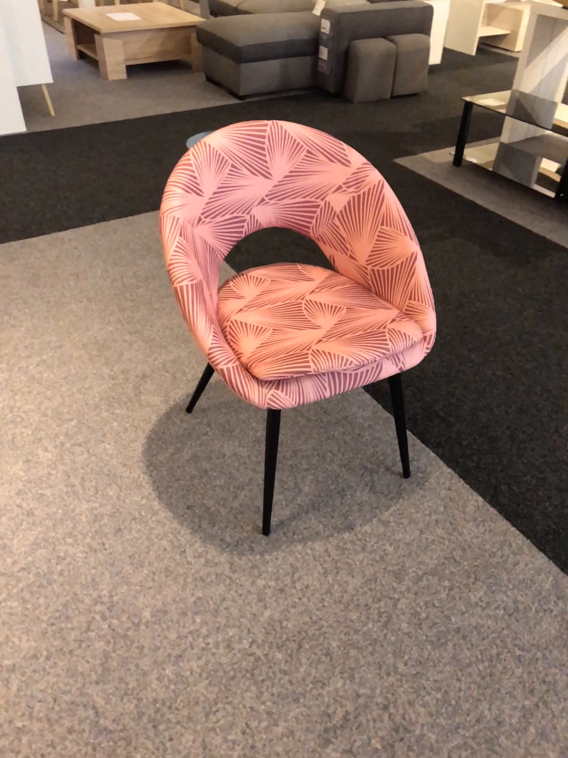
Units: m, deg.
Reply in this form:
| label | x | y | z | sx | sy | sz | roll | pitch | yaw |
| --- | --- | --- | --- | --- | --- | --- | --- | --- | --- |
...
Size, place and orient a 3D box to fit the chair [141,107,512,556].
| label | x | y | z | sx | sy | sz | roll | pitch | yaw |
| --- | --- | --- | --- | --- | --- | --- | --- | --- | --- |
| chair | 0.046 | -0.138 | 1.521 | 0.532 | 0.795 | 0.602 | -17 | 42 | -22 |
